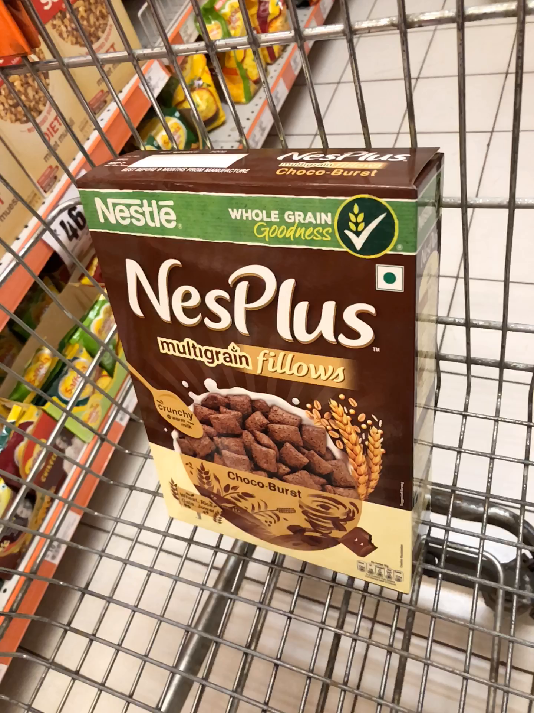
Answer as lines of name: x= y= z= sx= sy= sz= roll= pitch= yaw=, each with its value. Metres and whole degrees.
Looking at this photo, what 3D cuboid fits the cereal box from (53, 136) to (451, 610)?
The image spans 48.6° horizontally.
cereal box: x=0.001 y=0.012 z=0.354 sx=0.190 sy=0.259 sz=0.060 roll=9 pitch=34 yaw=27
